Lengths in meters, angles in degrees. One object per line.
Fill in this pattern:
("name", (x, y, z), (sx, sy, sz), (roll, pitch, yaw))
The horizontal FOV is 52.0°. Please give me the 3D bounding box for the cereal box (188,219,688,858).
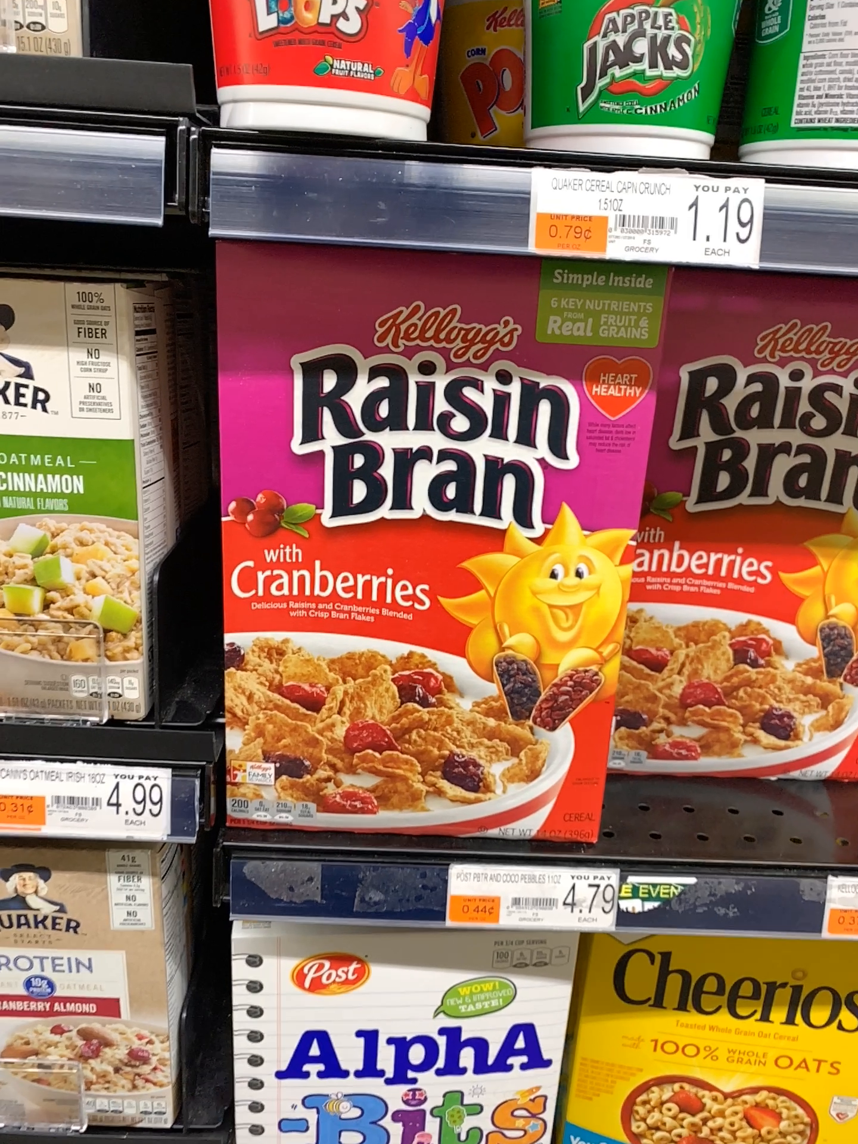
("cereal box", (-0.004, -0.008, 0.425), (0.200, 0.289, 0.060), (3, 18, -1))
